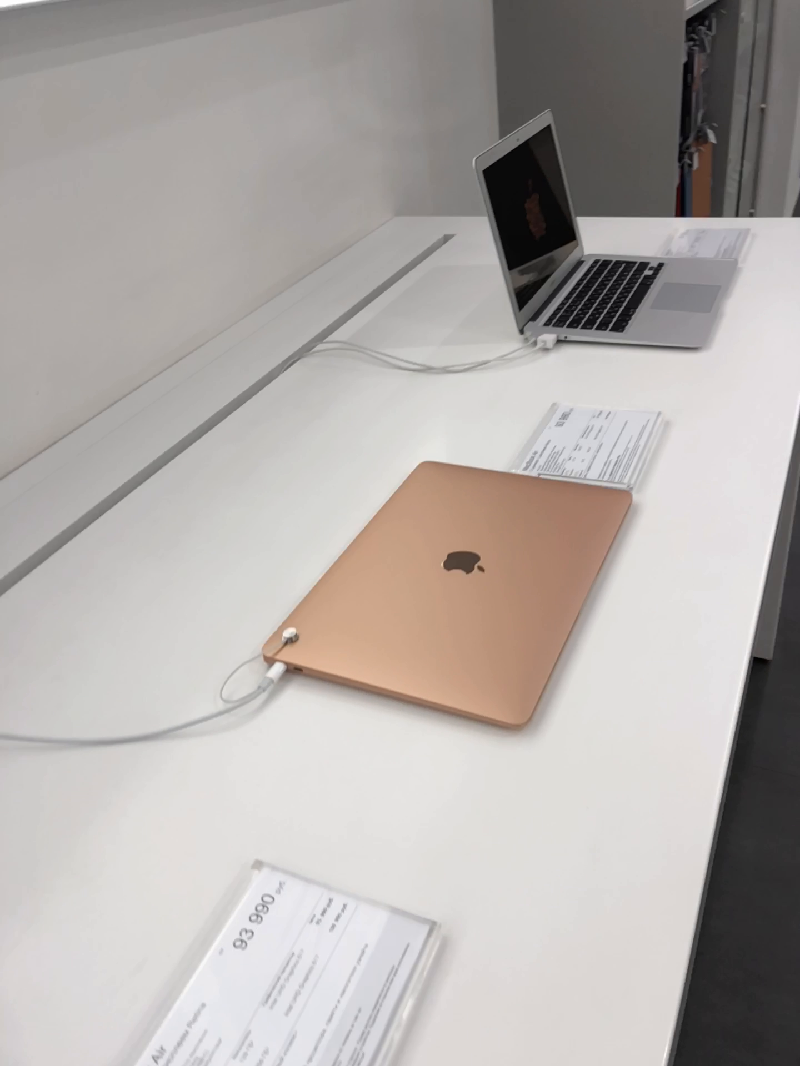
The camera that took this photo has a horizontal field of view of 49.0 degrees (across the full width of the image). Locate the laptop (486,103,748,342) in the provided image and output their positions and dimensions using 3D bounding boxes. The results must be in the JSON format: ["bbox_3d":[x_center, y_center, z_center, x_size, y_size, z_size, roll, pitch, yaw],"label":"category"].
[{"bbox_3d":[0.297,-0.419,1.157,0.257,0.213,0.347,8,35,22],"label":"laptop"}]

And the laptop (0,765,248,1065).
[{"bbox_3d":[-0.271,0.281,0.236,0.312,0.180,0.304,10,38,23],"label":"laptop"}]

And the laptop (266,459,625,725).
[{"bbox_3d":[0.052,0.027,0.725,0.201,0.005,0.295,10,38,23],"label":"laptop"}]
